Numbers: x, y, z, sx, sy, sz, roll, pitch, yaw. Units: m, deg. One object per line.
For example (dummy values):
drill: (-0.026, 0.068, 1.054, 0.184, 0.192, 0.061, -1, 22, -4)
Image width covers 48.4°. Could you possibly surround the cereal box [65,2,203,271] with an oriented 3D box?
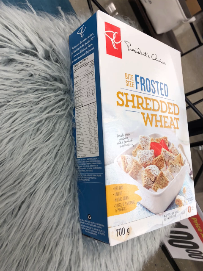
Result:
cereal box: (0.060, -0.002, 0.345, 0.201, 0.070, 0.310, 5, 74, -43)
